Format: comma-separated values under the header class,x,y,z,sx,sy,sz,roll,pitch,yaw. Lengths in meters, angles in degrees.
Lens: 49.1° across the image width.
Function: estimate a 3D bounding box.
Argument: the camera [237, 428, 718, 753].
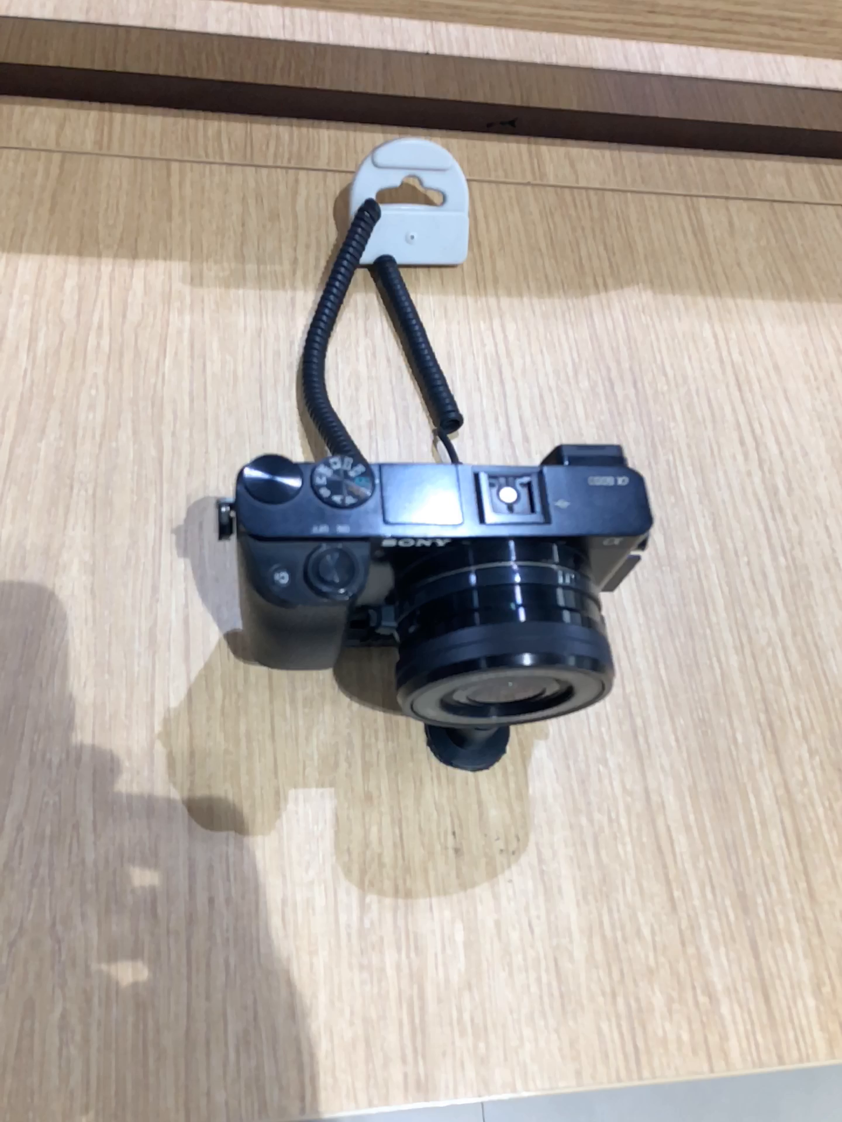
class,x,y,z,sx,sy,sz,roll,pitch,yaw
camera,0.007,0.009,0.245,0.107,0.070,0.059,-2,63,-11
